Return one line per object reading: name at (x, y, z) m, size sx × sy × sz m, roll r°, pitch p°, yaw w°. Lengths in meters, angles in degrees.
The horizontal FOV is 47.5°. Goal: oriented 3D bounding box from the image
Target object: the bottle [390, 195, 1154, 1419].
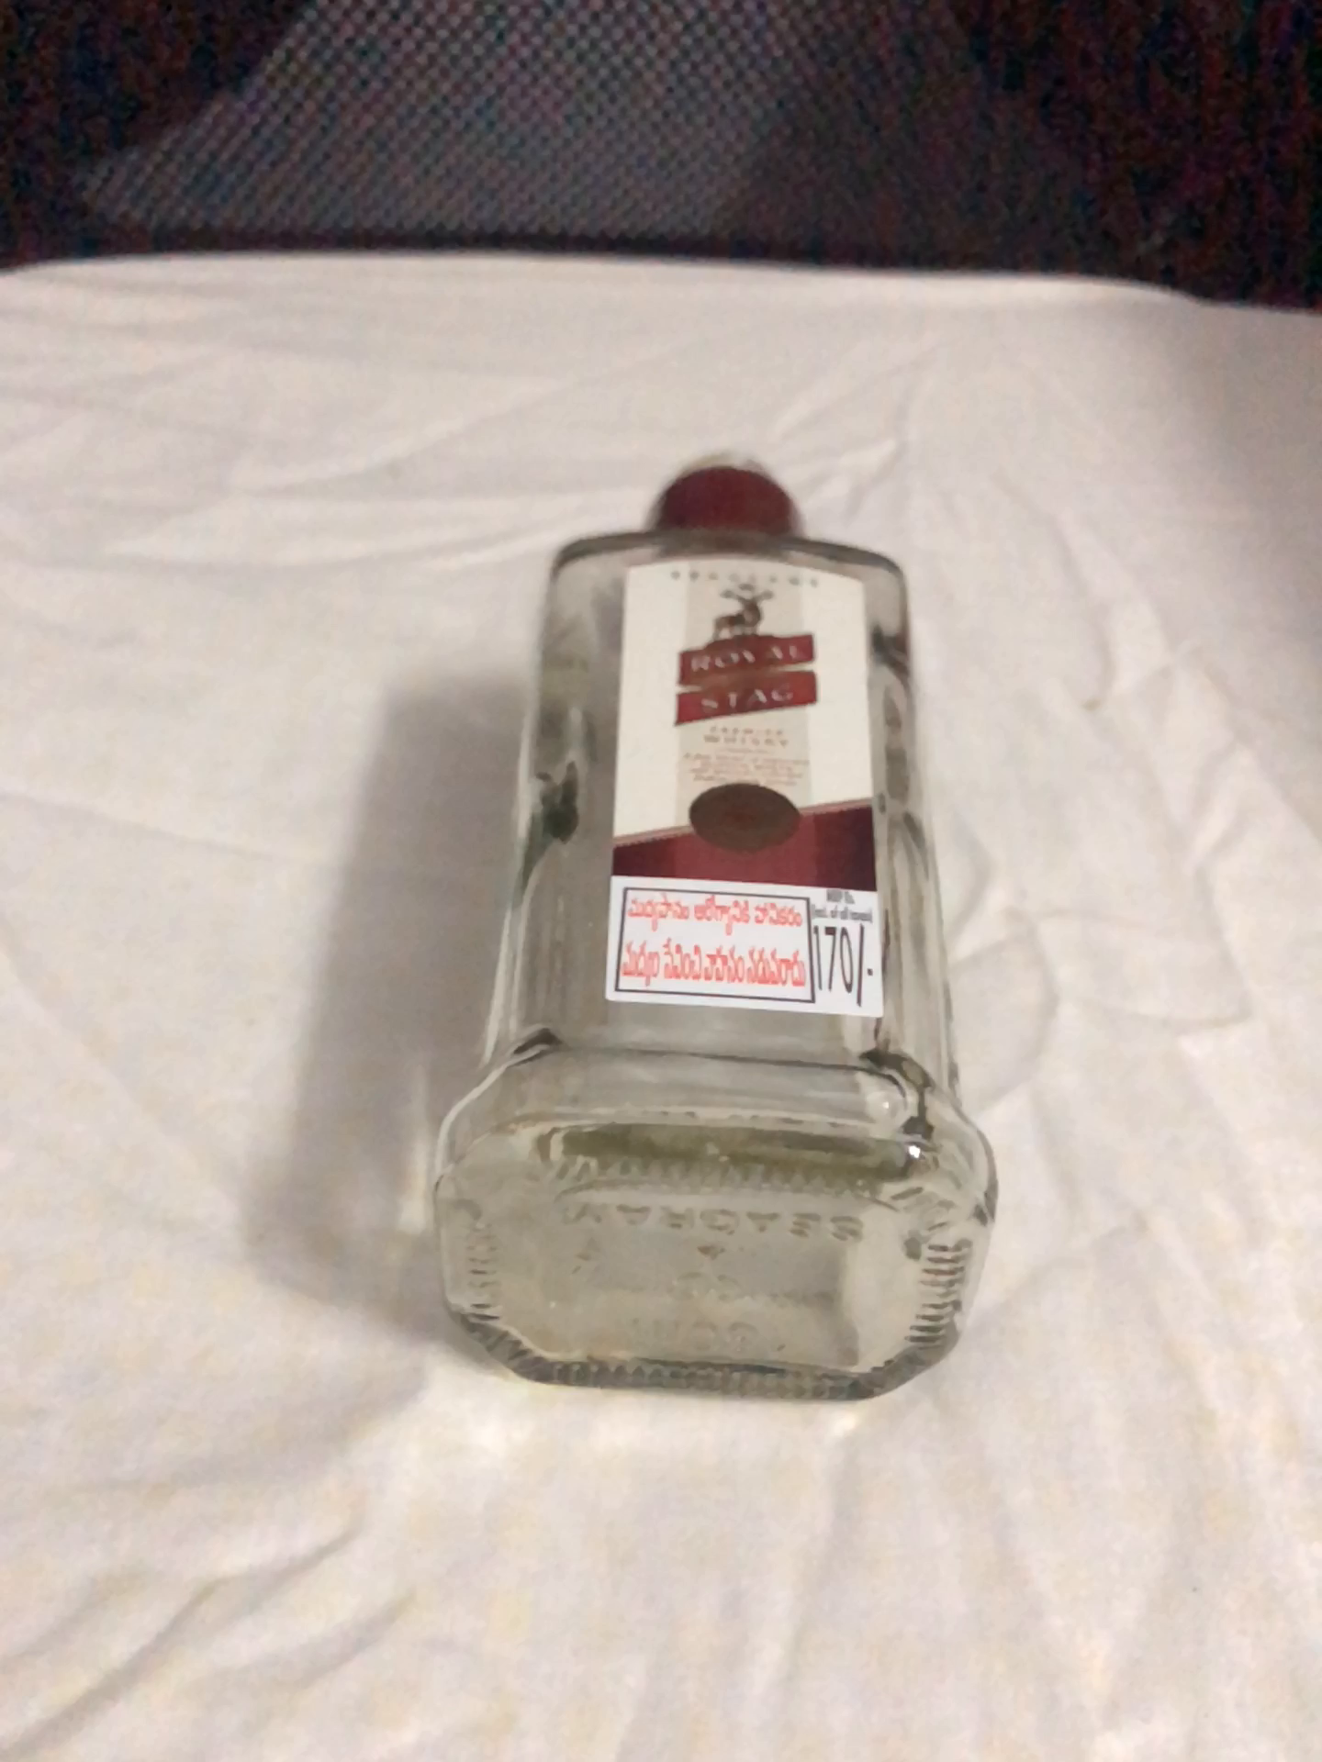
bottle at (0.011, -0.029, 0.199) m, size 0.060 × 0.050 × 0.181 m, roll 5°, pitch 45°, yaw -1°
